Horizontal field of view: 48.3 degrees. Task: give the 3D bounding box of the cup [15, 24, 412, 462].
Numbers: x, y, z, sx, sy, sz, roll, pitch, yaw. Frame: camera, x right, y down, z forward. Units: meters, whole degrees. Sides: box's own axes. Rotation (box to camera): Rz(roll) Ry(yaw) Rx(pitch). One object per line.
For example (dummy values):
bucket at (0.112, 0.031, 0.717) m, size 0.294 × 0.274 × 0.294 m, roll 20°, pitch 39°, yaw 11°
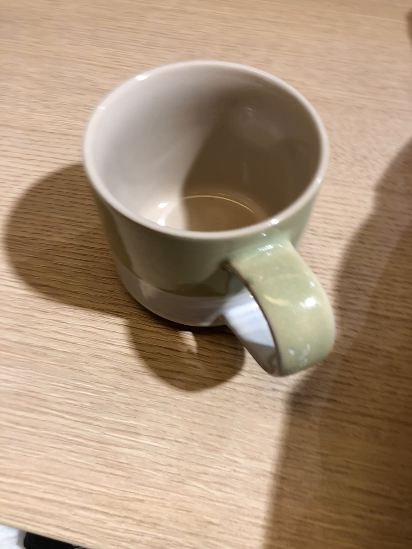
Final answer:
cup at (0.005, -0.018, 0.196) m, size 0.100 × 0.080 × 0.140 m, roll -27°, pitch 63°, yaw -15°
